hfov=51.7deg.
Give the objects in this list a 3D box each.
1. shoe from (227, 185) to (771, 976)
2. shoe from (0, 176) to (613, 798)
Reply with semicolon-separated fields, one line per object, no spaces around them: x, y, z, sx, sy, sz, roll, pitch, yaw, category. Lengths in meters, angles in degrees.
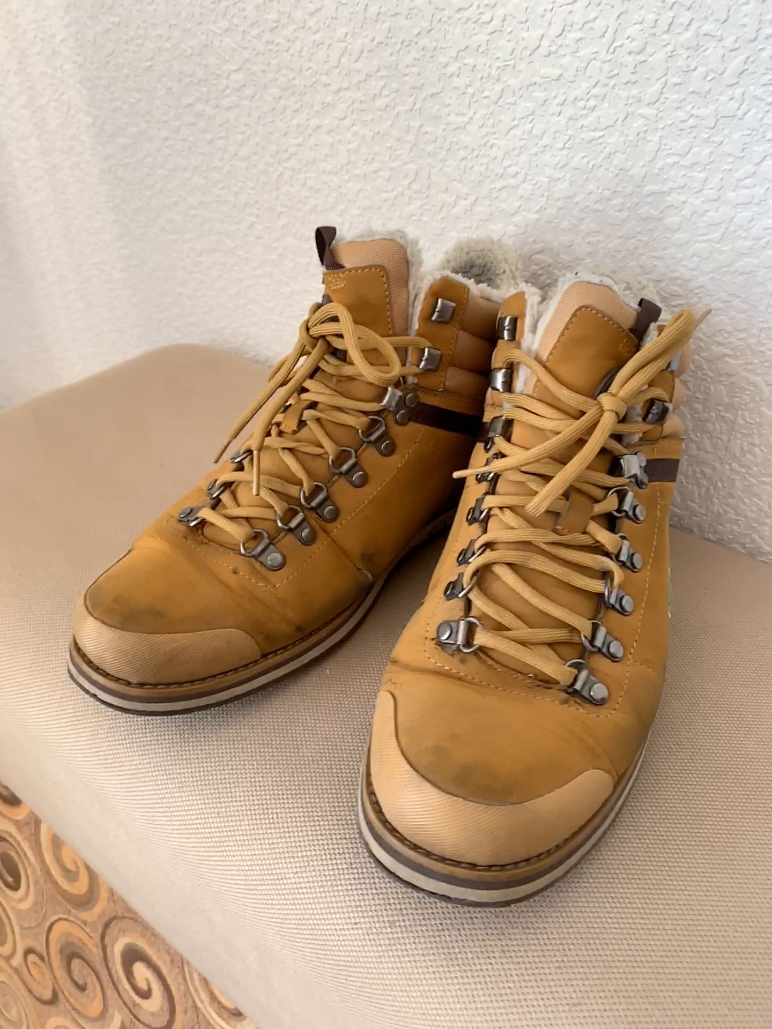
0.074;-0.011;0.337;0.120;0.149;0.301;13;42;18;shoe
-0.031;-0.043;0.385;0.120;0.149;0.301;28;46;31;shoe
